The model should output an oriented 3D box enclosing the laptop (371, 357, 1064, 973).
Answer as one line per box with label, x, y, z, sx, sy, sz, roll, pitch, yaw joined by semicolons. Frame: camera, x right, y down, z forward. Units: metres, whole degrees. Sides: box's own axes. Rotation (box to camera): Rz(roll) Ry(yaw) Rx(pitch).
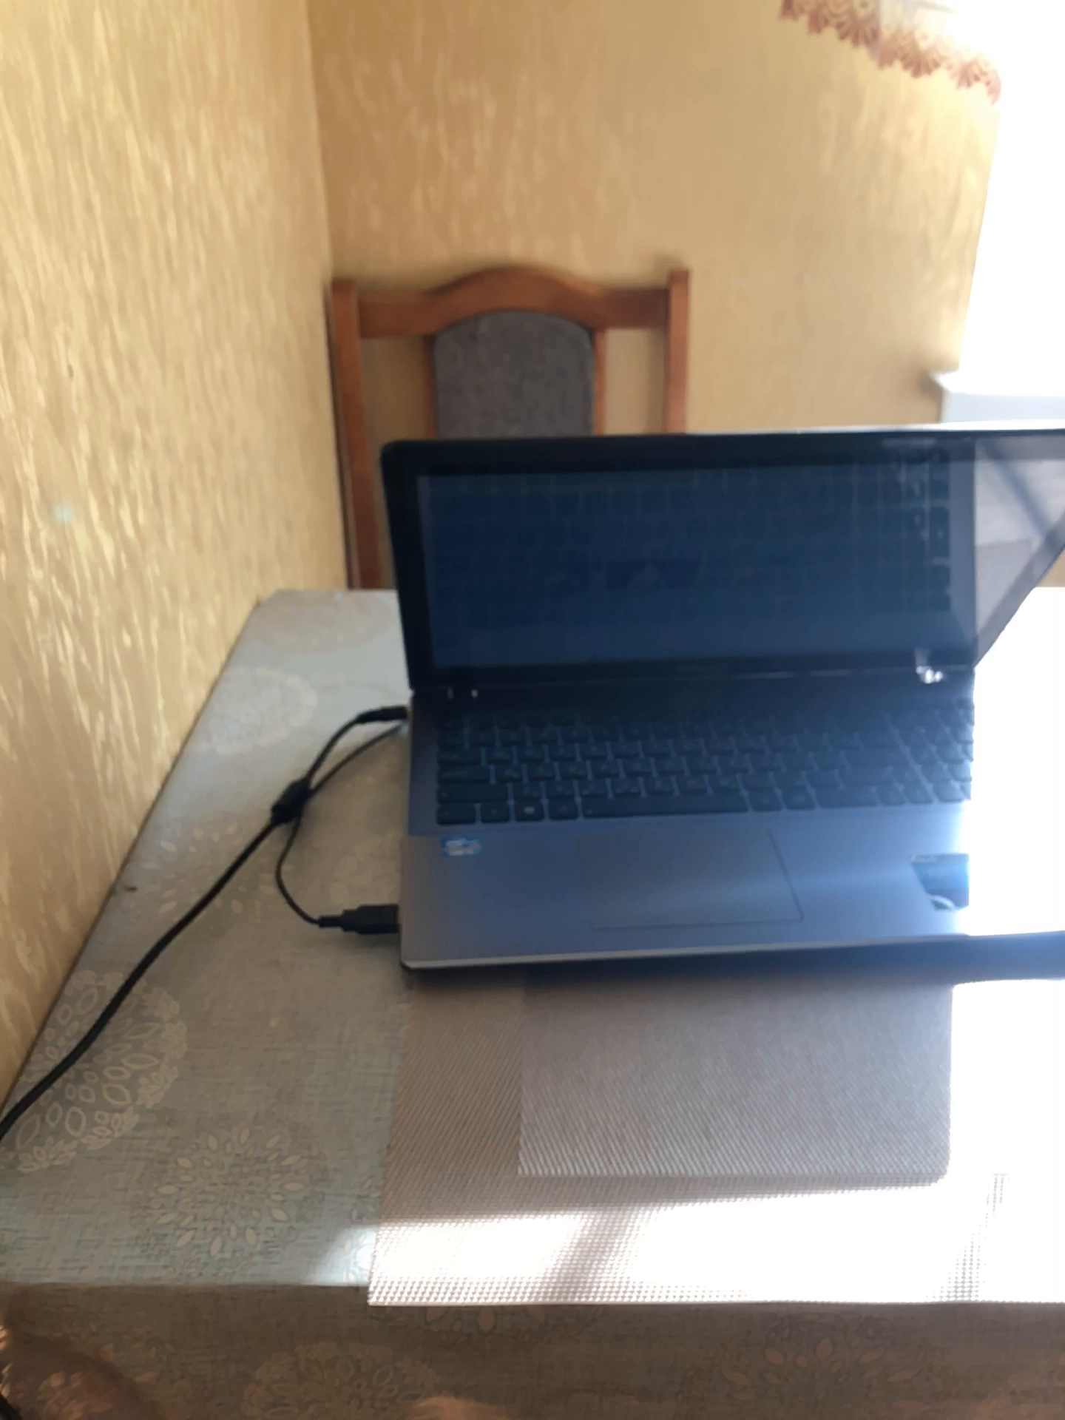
laptop;0.114;-0.040;0.607;0.364;0.197;0.241;-3;32;-4
